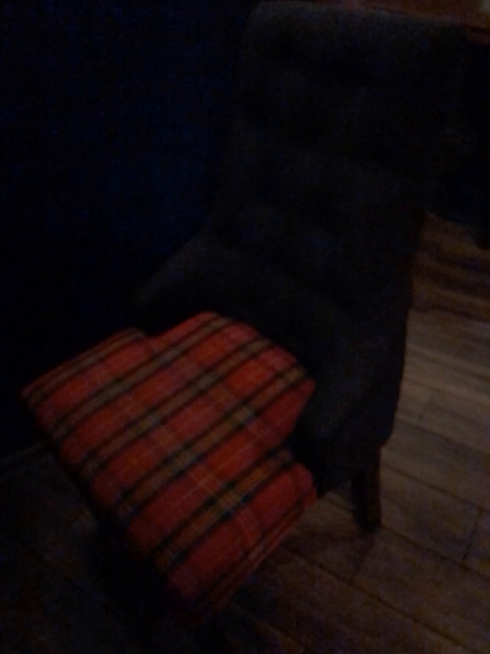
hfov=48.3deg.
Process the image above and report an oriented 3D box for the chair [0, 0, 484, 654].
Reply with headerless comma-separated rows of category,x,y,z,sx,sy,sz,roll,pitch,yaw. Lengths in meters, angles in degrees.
chair,-0.070,0.052,0.967,0.612,1.003,0.522,-33,45,-28
